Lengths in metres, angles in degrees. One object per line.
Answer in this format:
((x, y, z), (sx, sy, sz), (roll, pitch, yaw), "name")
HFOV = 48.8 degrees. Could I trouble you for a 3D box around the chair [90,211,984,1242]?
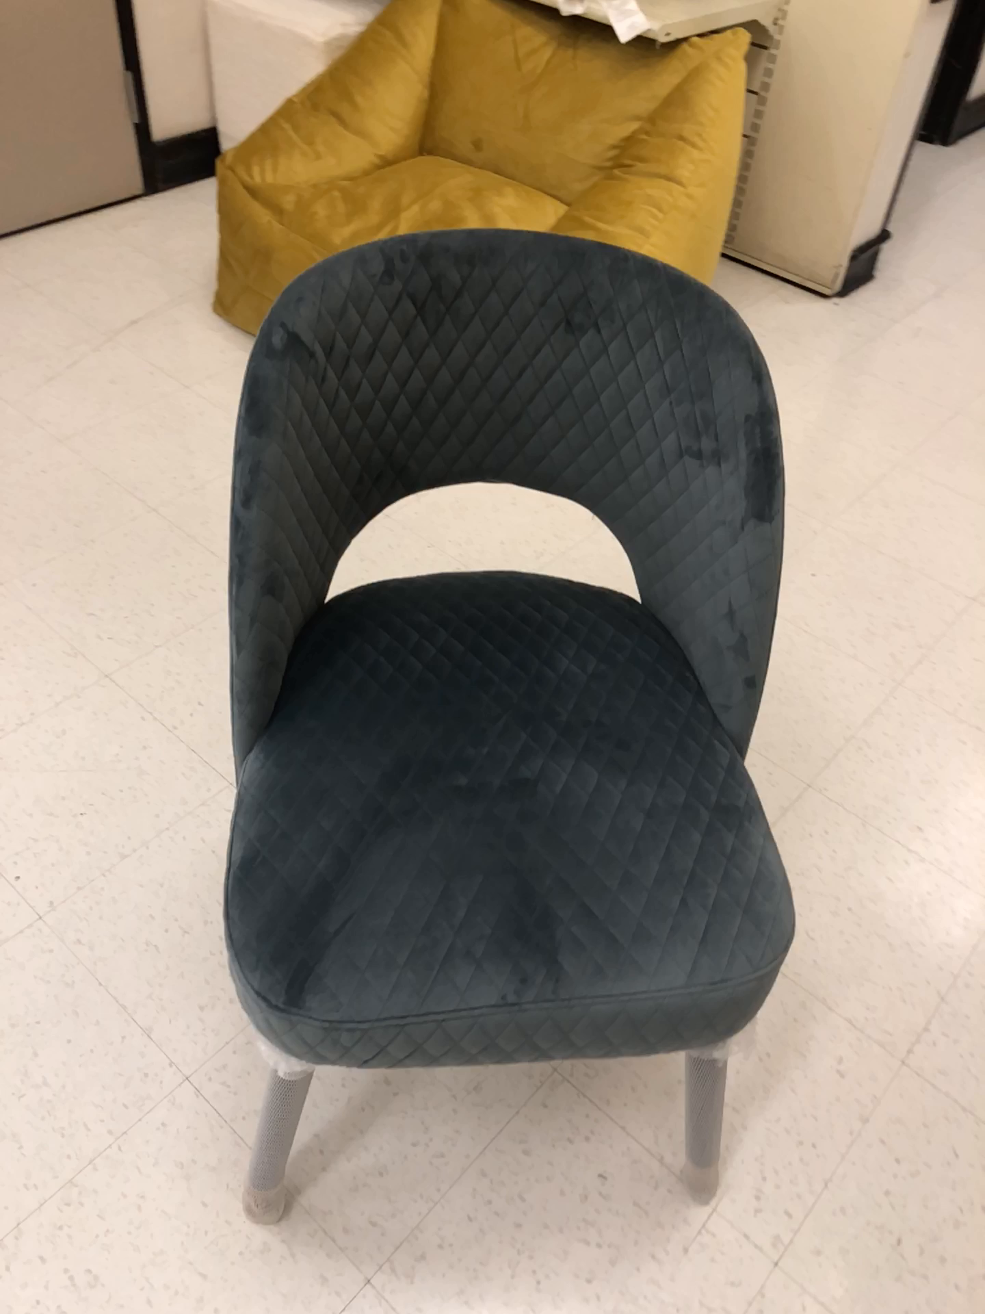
((0.004, 0.109, 1.092), (0.531, 0.857, 0.582), (0, 44, -6), "chair")
